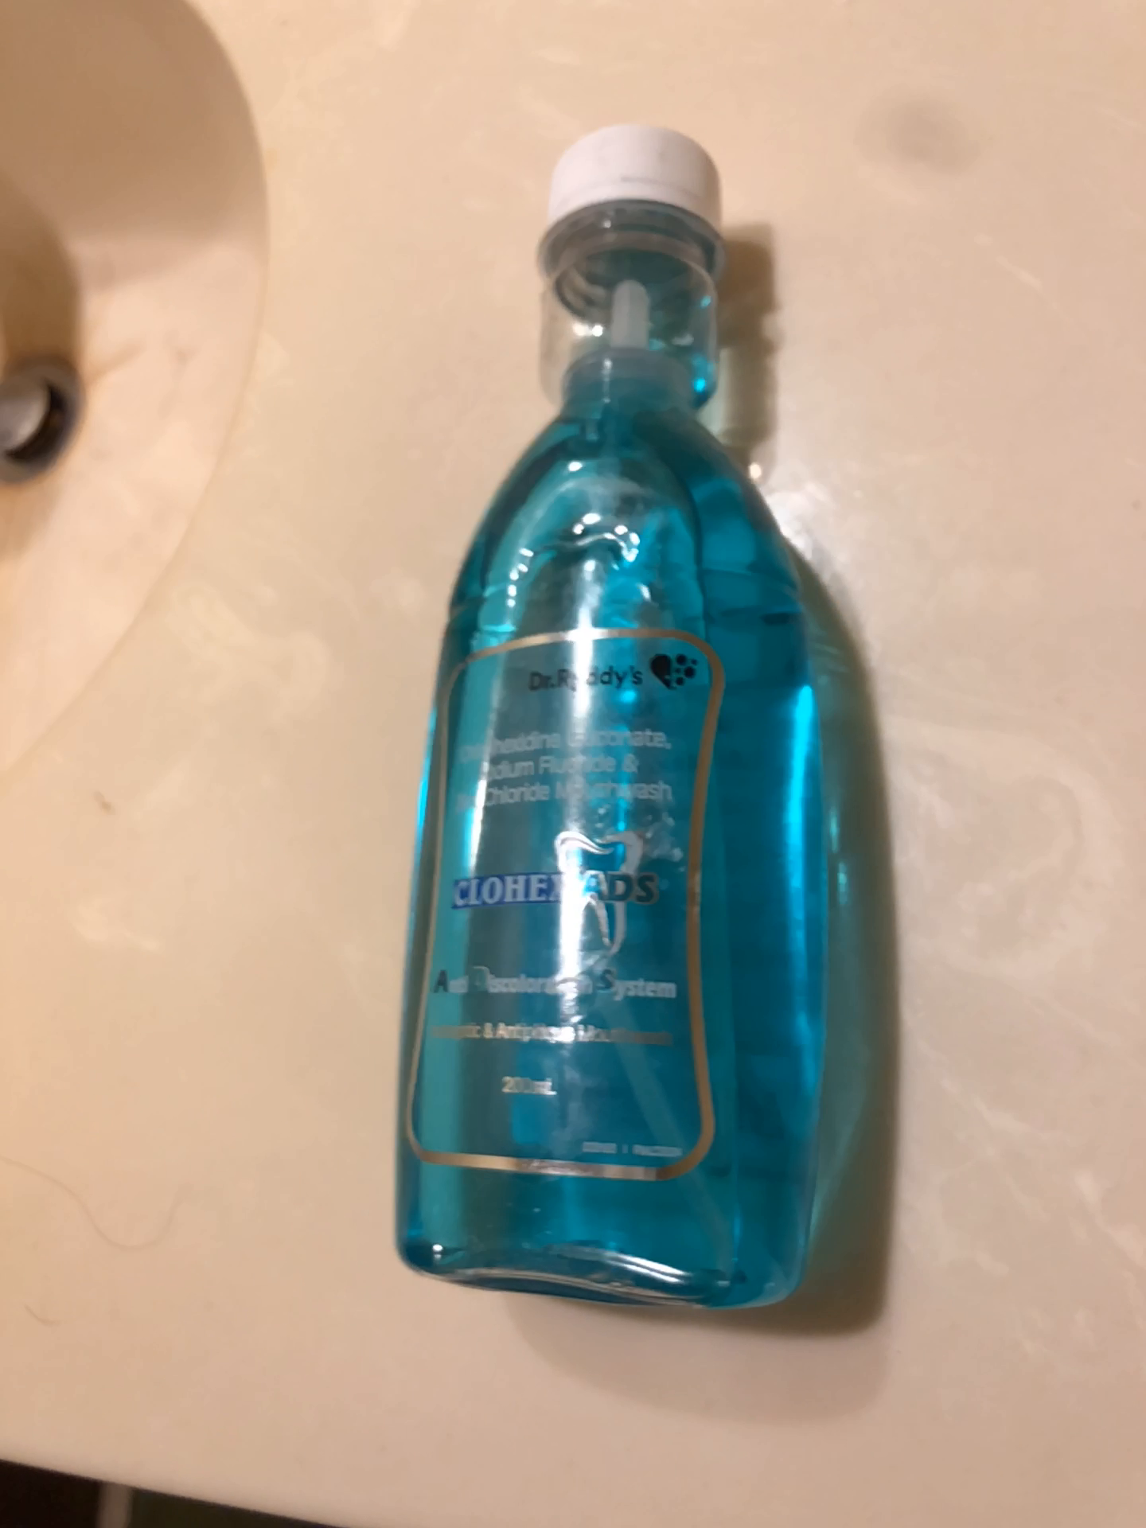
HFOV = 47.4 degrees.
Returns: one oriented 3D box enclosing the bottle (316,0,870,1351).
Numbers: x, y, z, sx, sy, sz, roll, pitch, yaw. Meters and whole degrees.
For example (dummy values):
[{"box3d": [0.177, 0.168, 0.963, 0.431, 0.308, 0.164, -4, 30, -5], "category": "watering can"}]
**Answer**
[{"box3d": [0.009, -0.024, 0.214, 0.070, 0.040, 0.210, -4, 75, 23], "category": "bottle"}]
